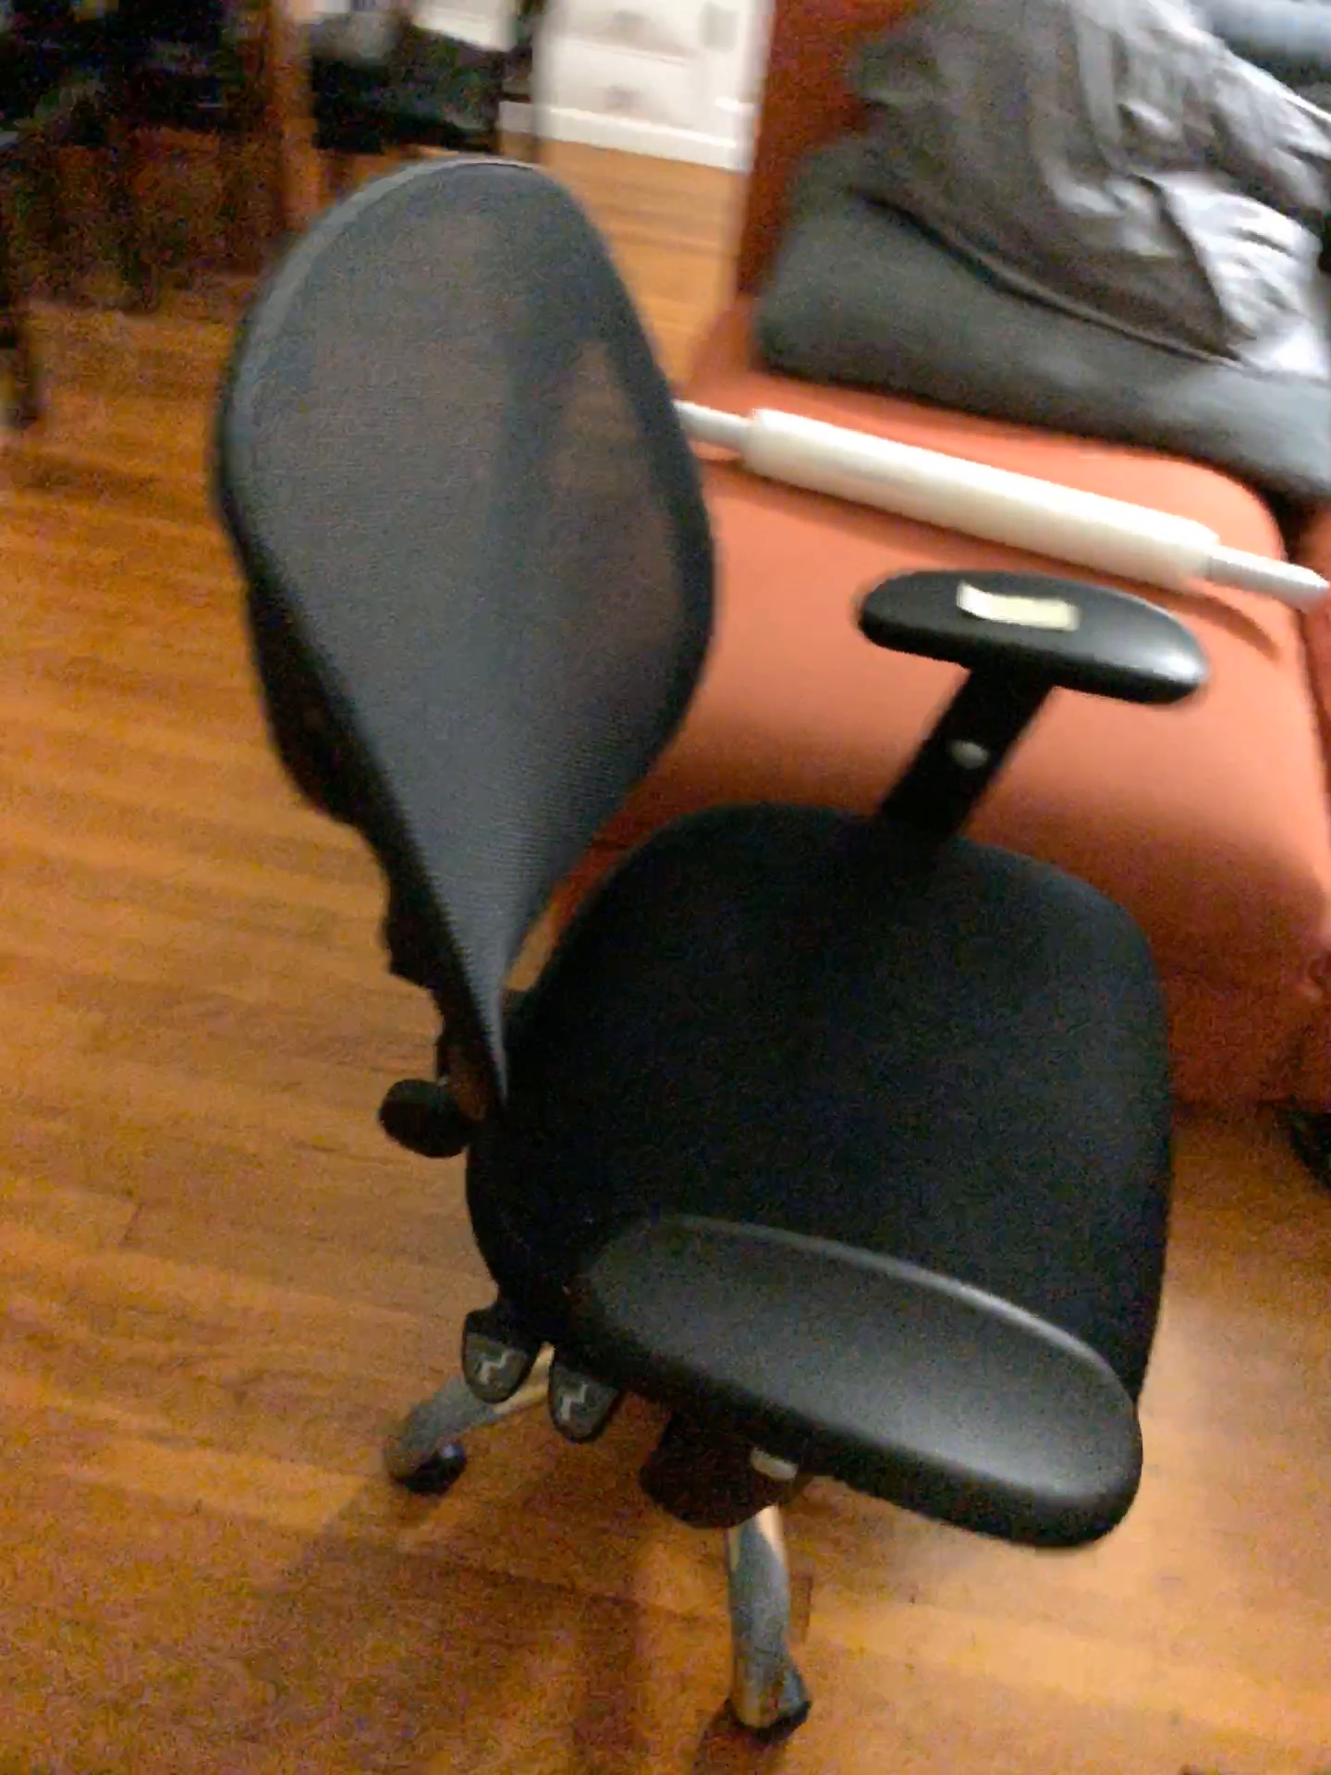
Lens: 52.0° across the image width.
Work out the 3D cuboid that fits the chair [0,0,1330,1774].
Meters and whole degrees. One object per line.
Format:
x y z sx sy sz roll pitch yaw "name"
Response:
0.071 0.052 0.943 0.661 0.974 0.643 16 46 14 "chair"
